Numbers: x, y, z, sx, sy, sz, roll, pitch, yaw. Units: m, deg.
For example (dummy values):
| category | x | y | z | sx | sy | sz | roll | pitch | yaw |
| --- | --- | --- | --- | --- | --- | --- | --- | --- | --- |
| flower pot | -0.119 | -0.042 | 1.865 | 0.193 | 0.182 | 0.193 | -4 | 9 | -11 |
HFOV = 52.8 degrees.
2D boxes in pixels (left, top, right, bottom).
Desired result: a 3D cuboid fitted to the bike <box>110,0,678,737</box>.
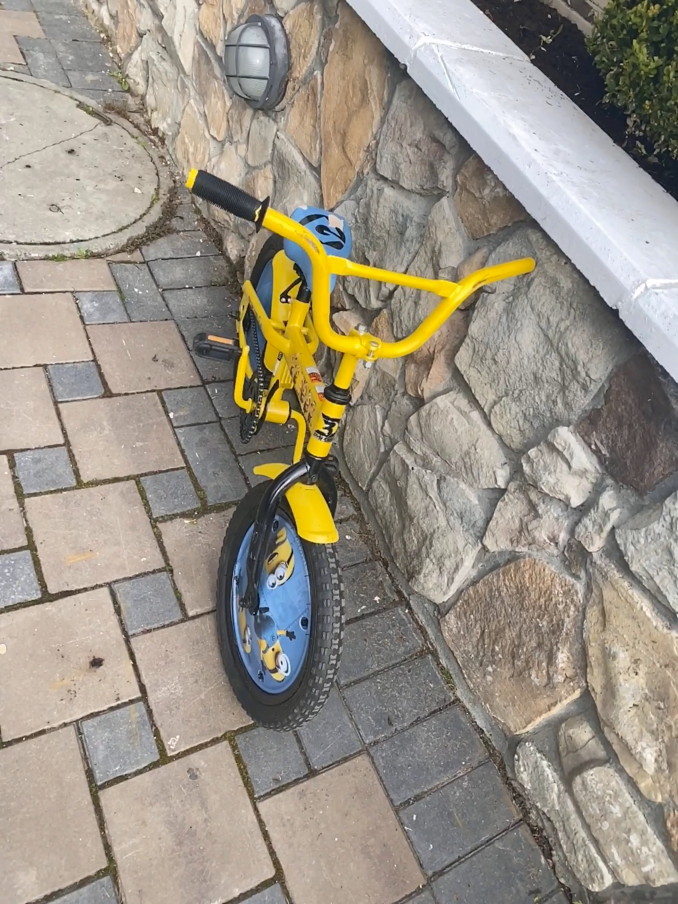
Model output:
| category | x | y | z | sx | sy | sz | roll | pitch | yaw |
| --- | --- | --- | --- | --- | --- | --- | --- | --- | --- |
| bike | -0.025 | -0.167 | 1.225 | 0.619 | 0.735 | 1.092 | 6 | 47 | -20 |
